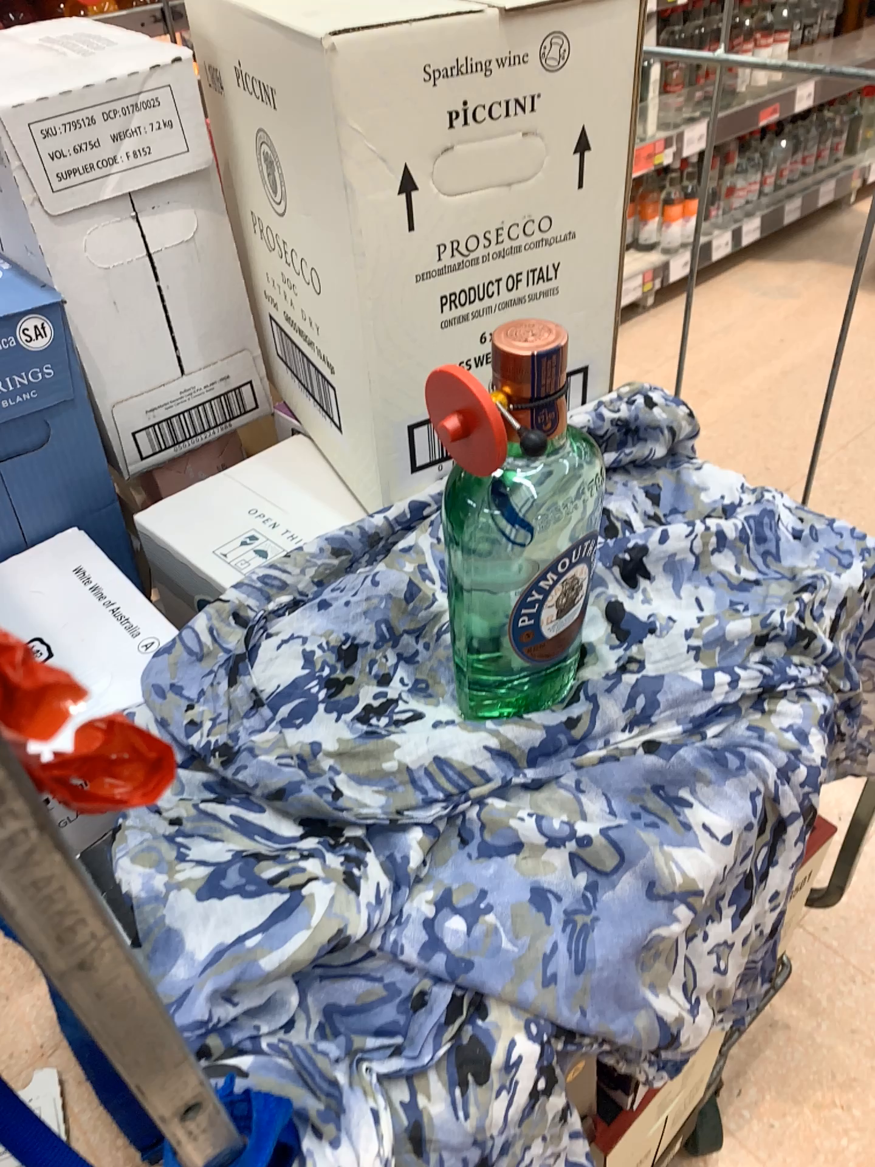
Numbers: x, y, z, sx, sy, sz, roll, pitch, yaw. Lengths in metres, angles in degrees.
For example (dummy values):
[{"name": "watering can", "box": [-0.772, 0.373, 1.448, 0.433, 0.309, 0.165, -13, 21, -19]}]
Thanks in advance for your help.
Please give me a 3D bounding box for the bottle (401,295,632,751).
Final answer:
[{"name": "bottle", "box": [0.044, -0.025, 0.489, 0.094, 0.228, 0.058, -32, 47, -29]}]
